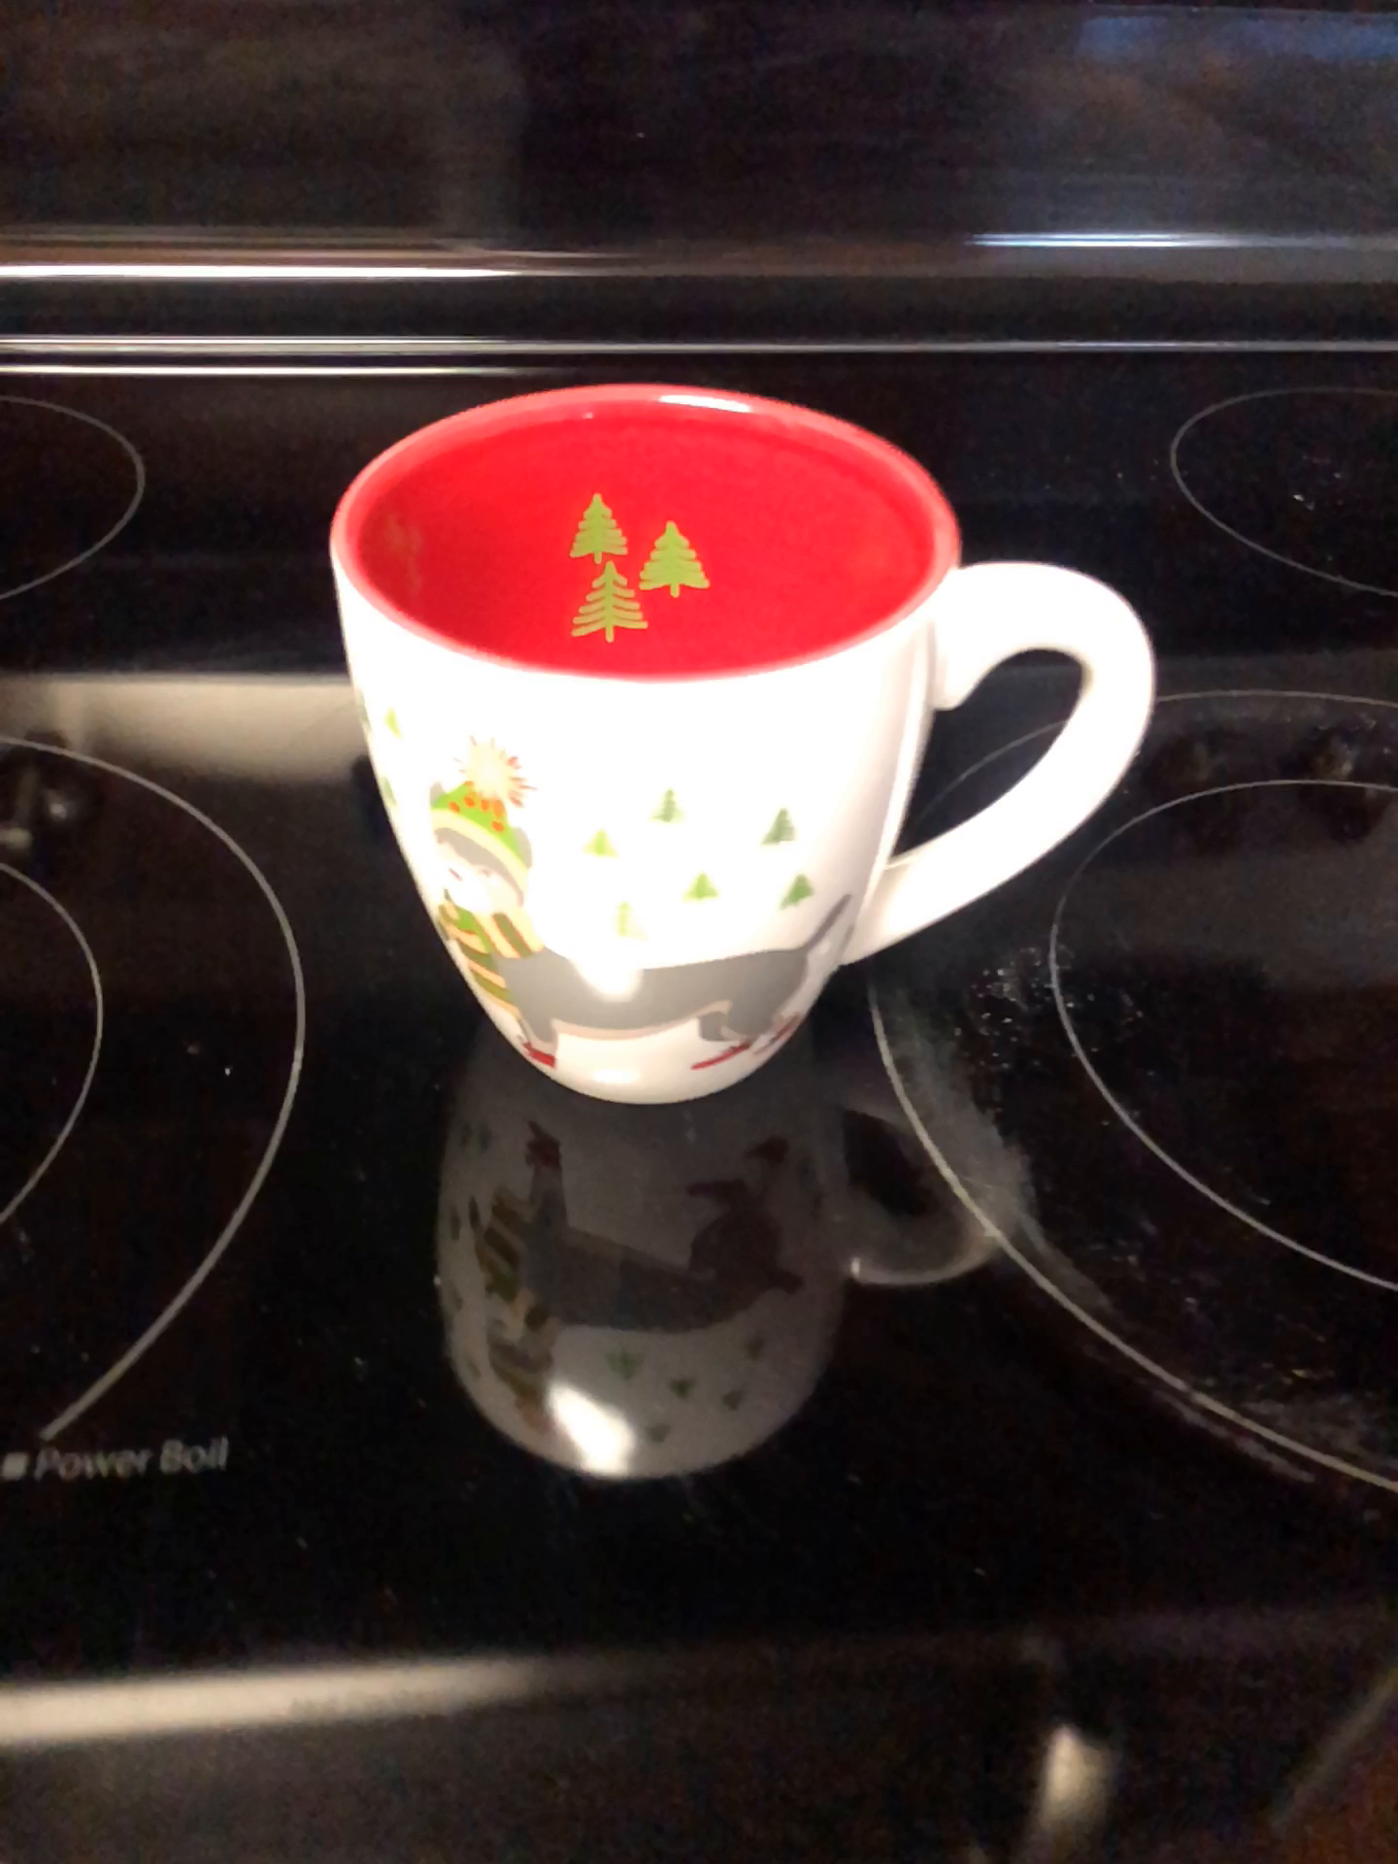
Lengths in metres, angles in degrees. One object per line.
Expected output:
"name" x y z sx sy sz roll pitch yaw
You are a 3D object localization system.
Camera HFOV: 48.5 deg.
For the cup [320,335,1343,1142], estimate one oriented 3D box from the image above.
"cup" 0.013 -0.038 0.280 0.140 0.100 0.100 -3 42 -6
